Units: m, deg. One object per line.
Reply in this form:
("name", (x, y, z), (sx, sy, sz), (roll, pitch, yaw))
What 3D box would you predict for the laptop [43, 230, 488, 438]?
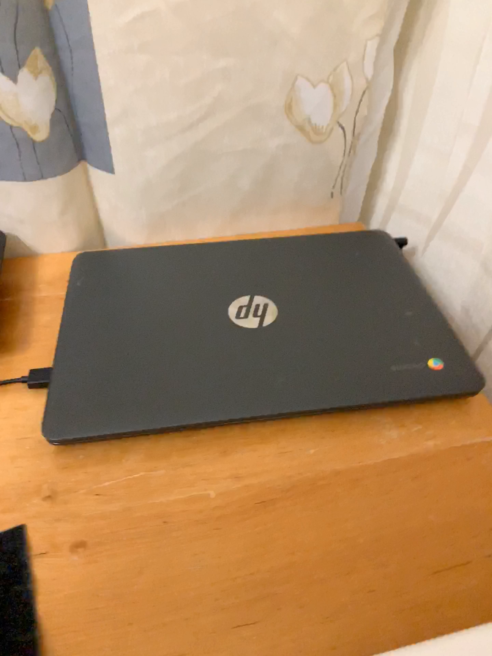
("laptop", (0.004, -0.013, 0.390), (0.281, 0.002, 0.195), (-6, 42, -5))
